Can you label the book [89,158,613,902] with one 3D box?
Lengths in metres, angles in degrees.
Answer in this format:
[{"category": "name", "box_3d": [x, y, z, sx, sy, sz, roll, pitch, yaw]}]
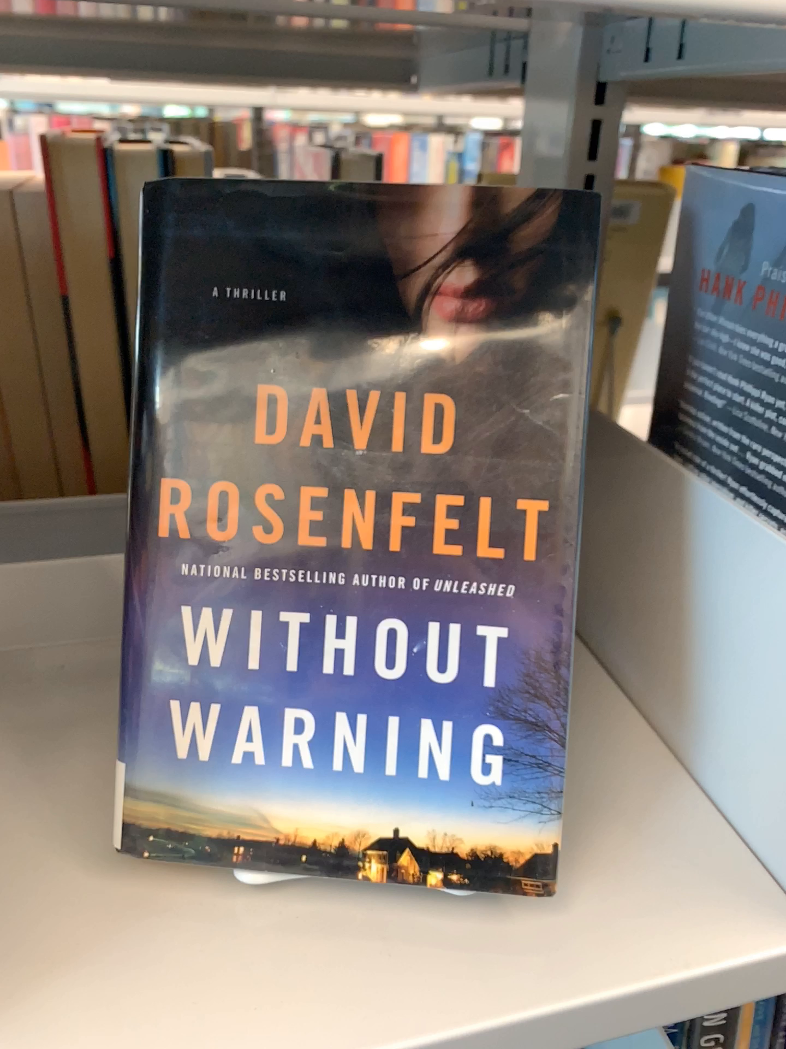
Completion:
[{"category": "book", "box_3d": [-0.017, 0.002, 0.282, 0.157, 0.230, 0.035, 4, 4, 4]}]
